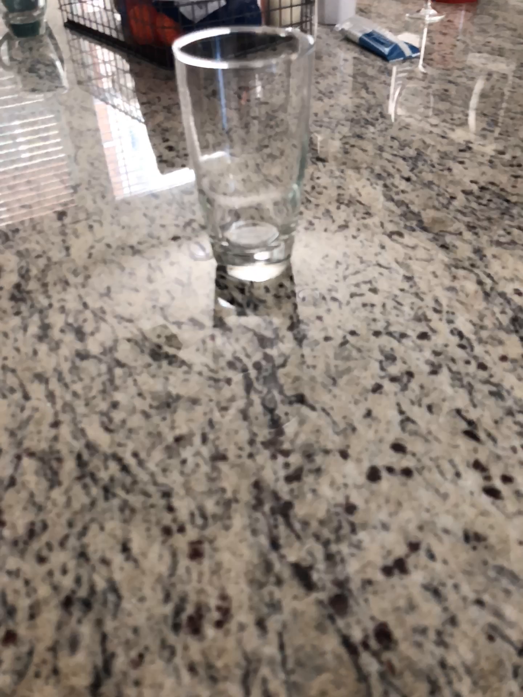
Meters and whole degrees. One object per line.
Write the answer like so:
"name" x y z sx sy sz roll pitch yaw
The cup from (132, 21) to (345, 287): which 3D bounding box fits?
"cup" -0.006 -0.126 0.367 0.100 0.129 0.101 -1 40 1
